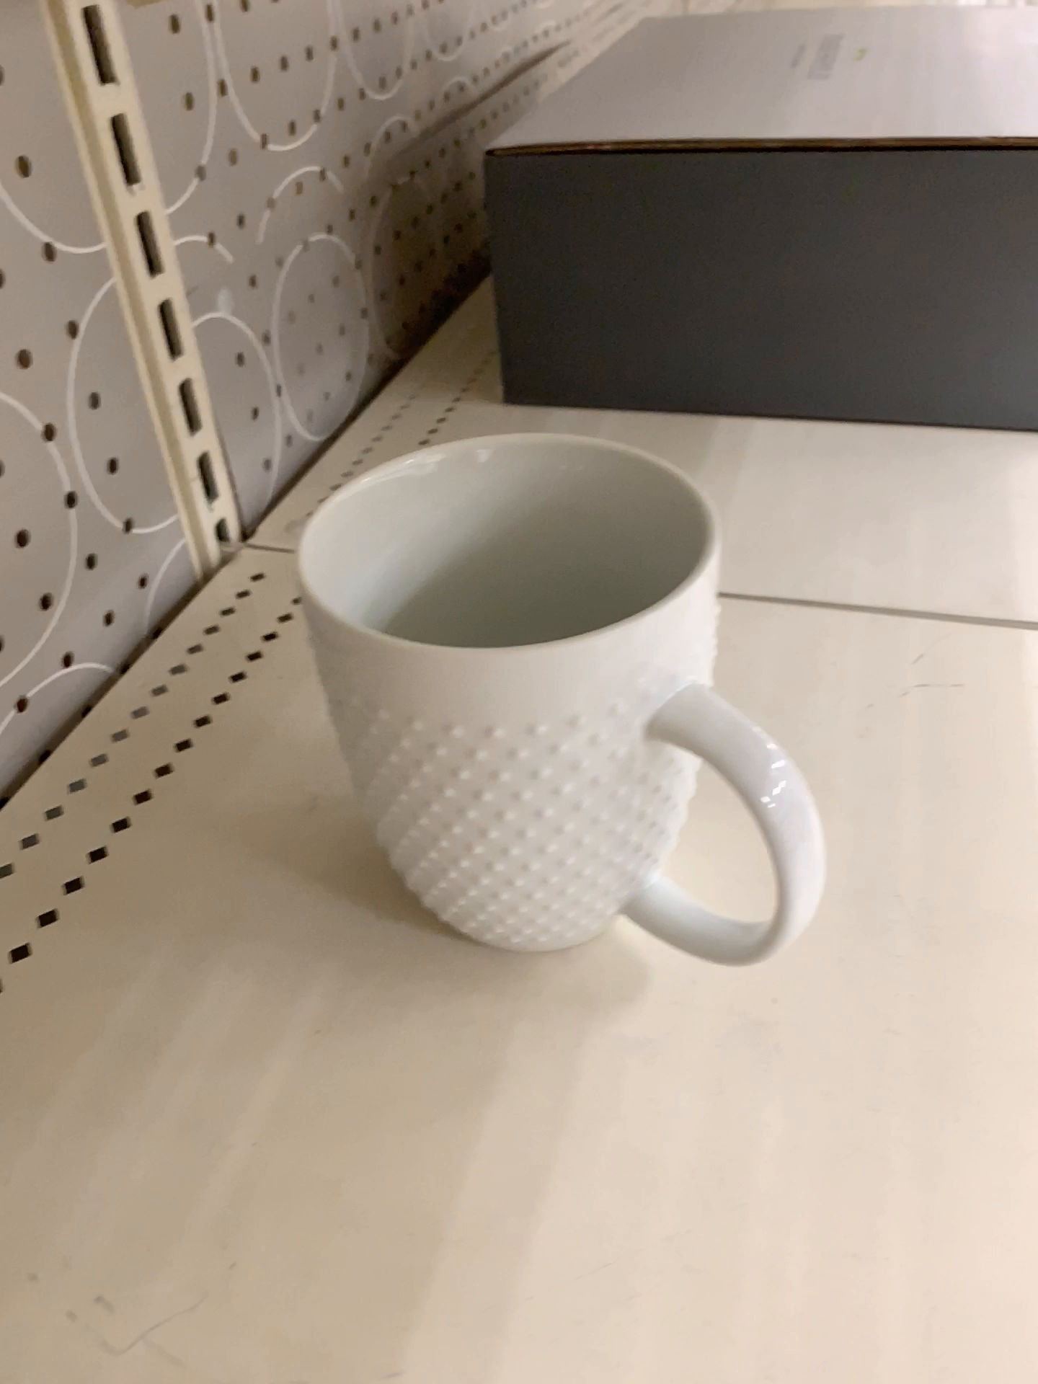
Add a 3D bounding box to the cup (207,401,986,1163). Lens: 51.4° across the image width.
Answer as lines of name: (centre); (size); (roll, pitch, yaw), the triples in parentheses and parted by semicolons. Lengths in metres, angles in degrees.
cup: (0.016, 0.011, 0.264); (0.138, 0.105, 0.094); (26, 47, 31)
